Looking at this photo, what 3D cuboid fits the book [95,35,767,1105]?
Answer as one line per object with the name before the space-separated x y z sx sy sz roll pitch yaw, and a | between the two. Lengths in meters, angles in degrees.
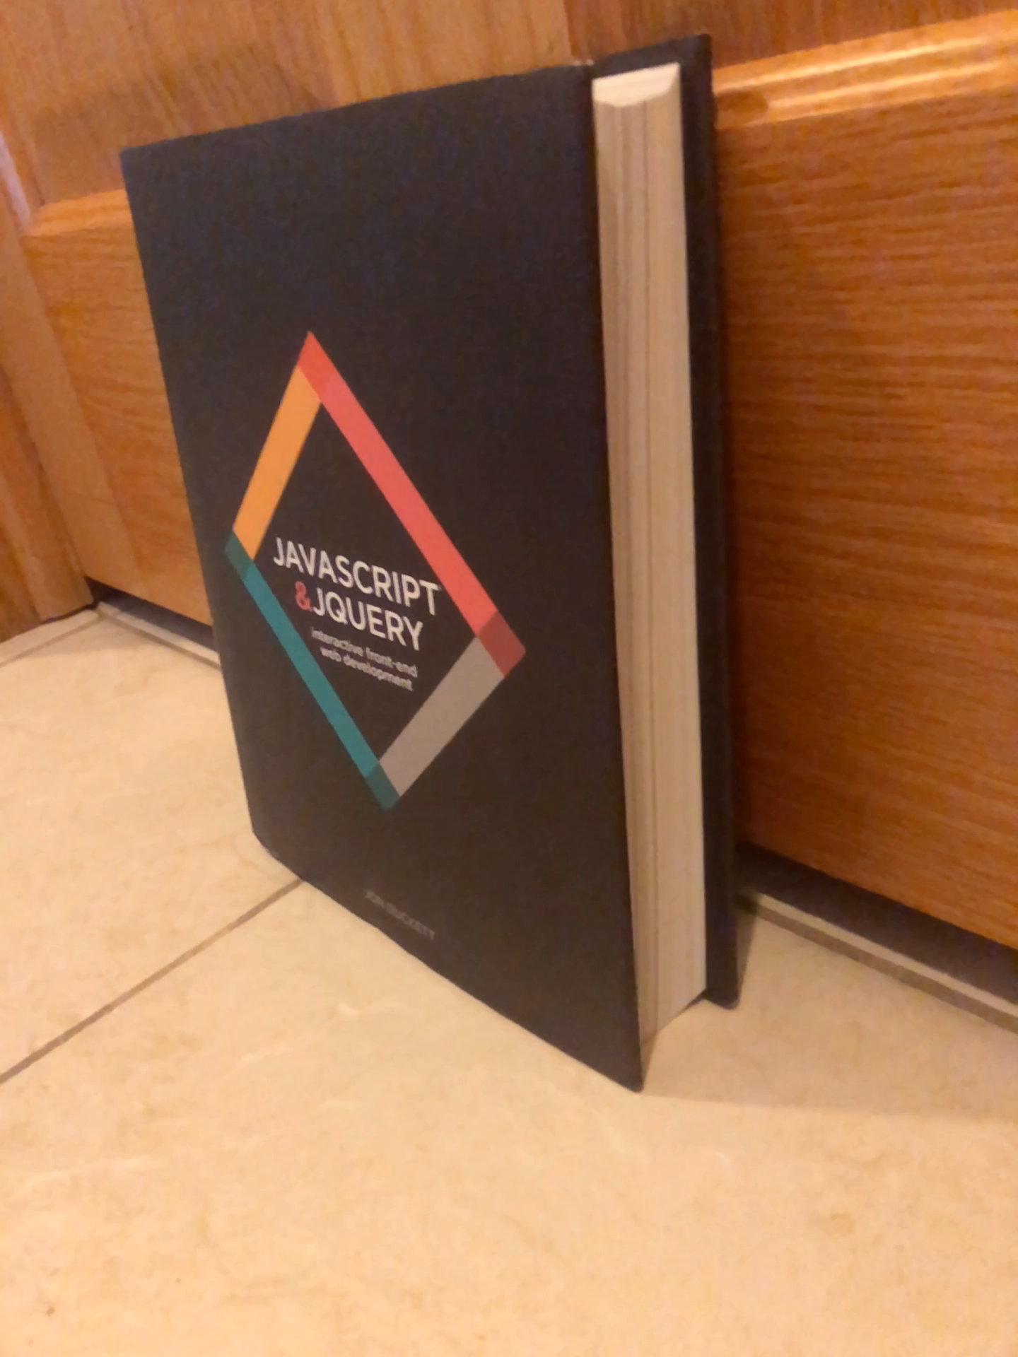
book | -0.026 -0.035 0.329 0.060 0.237 0.201 -22 27 -37
